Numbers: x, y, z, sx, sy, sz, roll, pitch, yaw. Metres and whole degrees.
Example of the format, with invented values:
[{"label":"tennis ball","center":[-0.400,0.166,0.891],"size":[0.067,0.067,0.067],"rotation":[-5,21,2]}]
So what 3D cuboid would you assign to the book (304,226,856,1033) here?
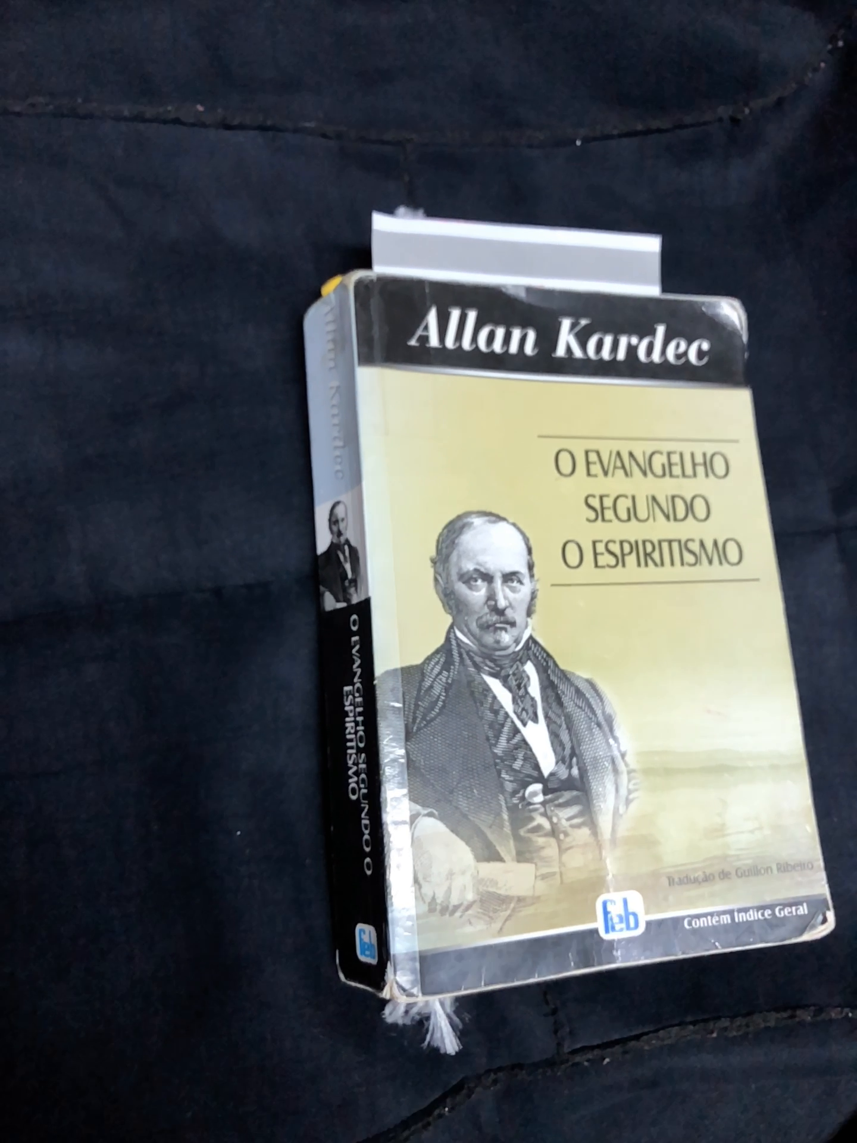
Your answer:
[{"label":"book","center":[0.046,0.009,0.302],"size":[0.150,0.050,0.220],"rotation":[-2,79,-16]}]
